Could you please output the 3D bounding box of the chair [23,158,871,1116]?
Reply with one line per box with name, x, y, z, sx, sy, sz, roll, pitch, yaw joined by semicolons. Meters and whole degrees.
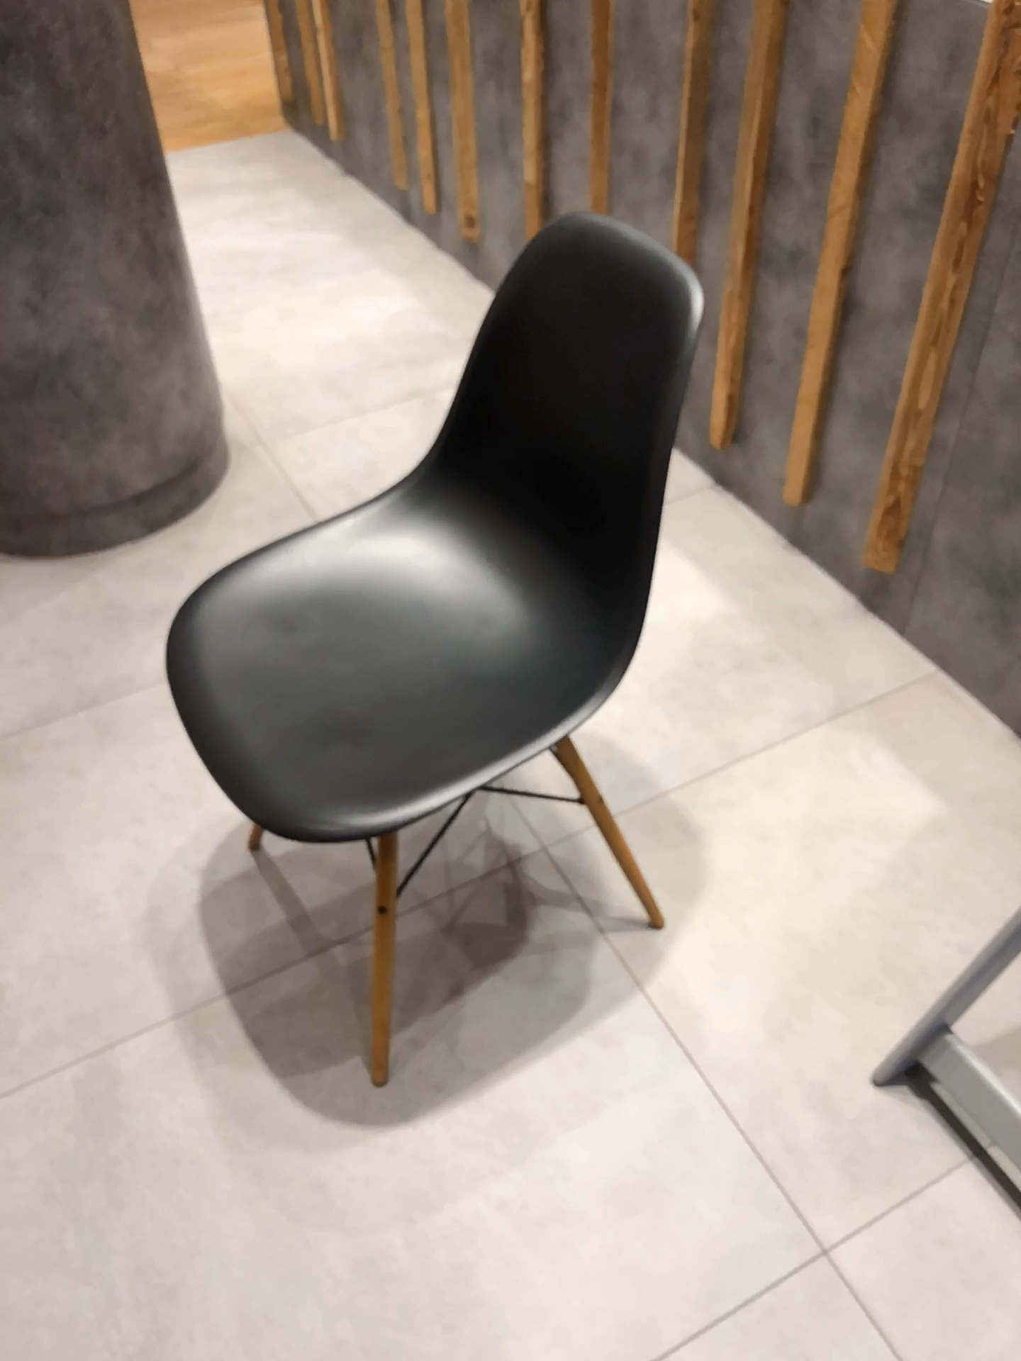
chair;-0.070;-0.047;1.242;0.564;0.757;0.510;-23;48;-20
